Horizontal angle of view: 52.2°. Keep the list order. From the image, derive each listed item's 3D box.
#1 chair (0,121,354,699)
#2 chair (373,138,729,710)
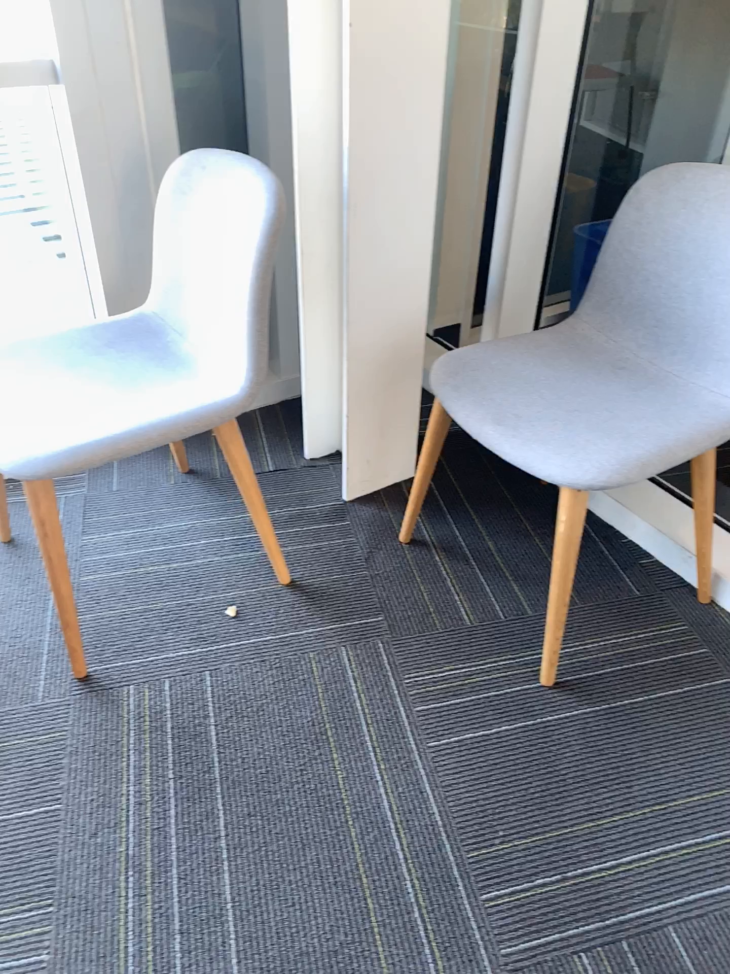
[{"bbox_3d":[-0.459,-0.198,1.397,0.601,0.726,0.653,-23,43,-29],"label":"chair"},{"bbox_3d":[0.427,-0.155,1.356,0.591,0.726,0.563,-21,42,-28],"label":"chair"}]
